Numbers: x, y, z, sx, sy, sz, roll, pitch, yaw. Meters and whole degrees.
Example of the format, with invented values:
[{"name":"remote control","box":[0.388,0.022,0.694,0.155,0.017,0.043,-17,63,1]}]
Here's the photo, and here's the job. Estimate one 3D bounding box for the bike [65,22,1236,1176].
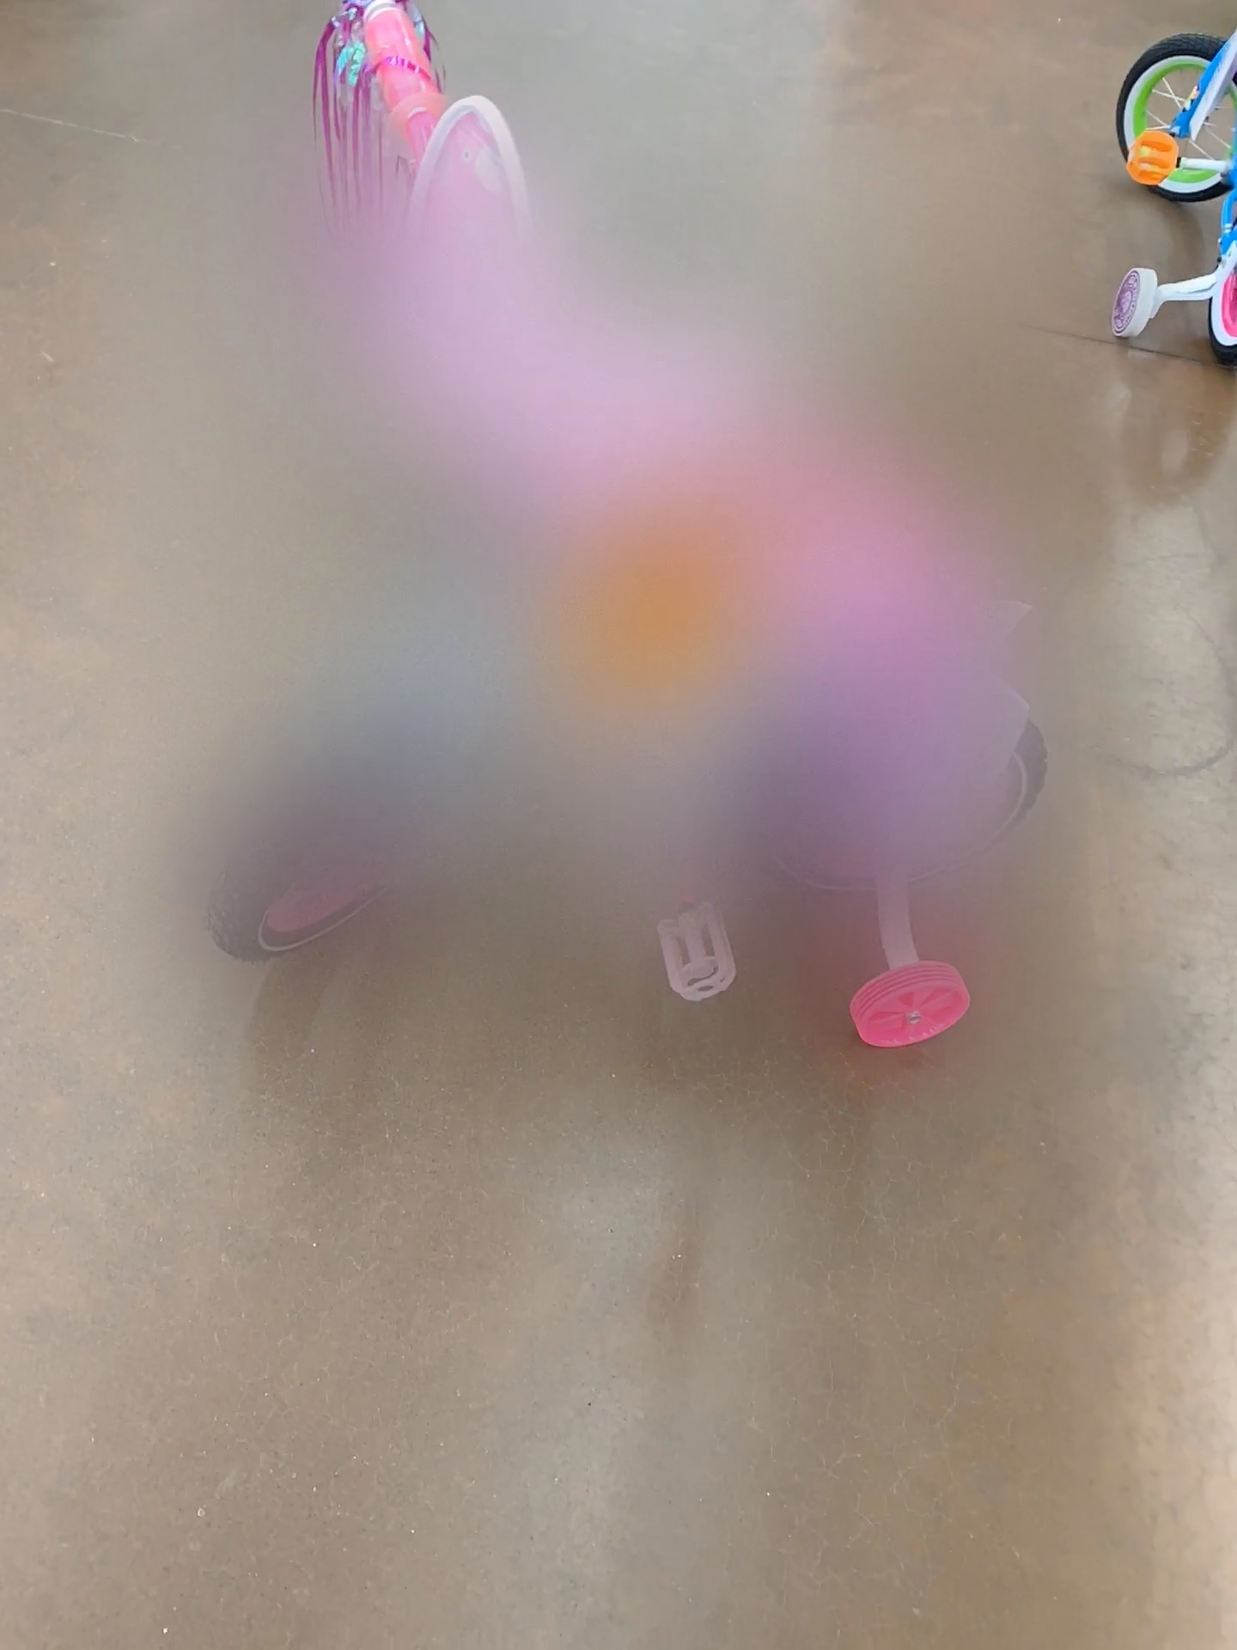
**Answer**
[{"name":"bike","box":[0.039,-0.160,0.986,0.725,0.648,0.502,-9,53,-13]}]
